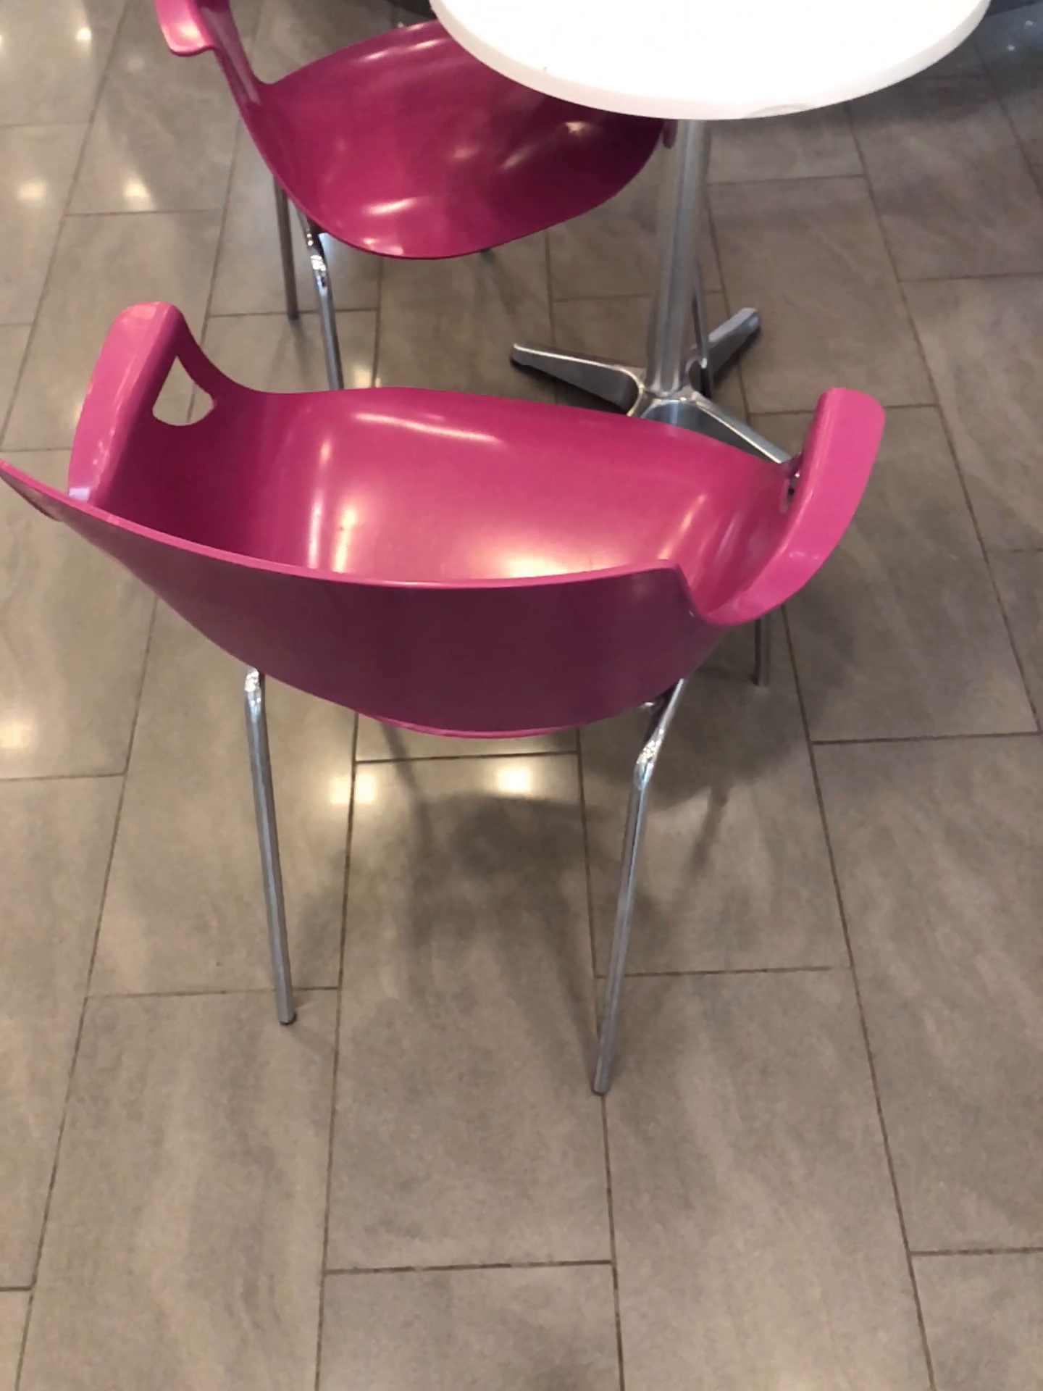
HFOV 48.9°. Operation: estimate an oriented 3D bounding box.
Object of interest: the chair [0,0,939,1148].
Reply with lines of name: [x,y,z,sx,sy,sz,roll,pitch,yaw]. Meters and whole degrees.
chair: [-0.040,-0.074,1.094,0.620,0.838,0.671,10,59,11]
